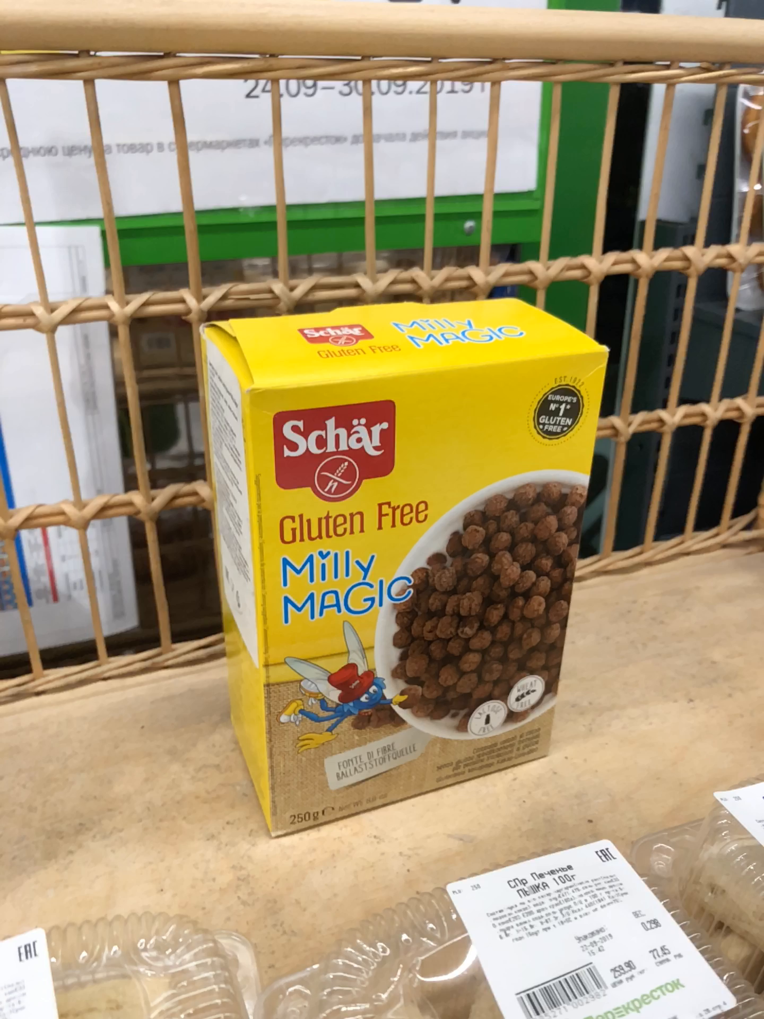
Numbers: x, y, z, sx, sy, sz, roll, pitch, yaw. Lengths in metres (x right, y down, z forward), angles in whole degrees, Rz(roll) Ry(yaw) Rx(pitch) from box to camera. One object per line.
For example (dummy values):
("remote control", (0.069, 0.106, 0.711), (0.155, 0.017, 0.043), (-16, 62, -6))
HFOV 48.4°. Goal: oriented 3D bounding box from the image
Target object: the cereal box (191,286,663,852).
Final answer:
("cereal box", (0.013, 0.023, 0.371), (0.160, 0.209, 0.080), (-10, 30, -19))
